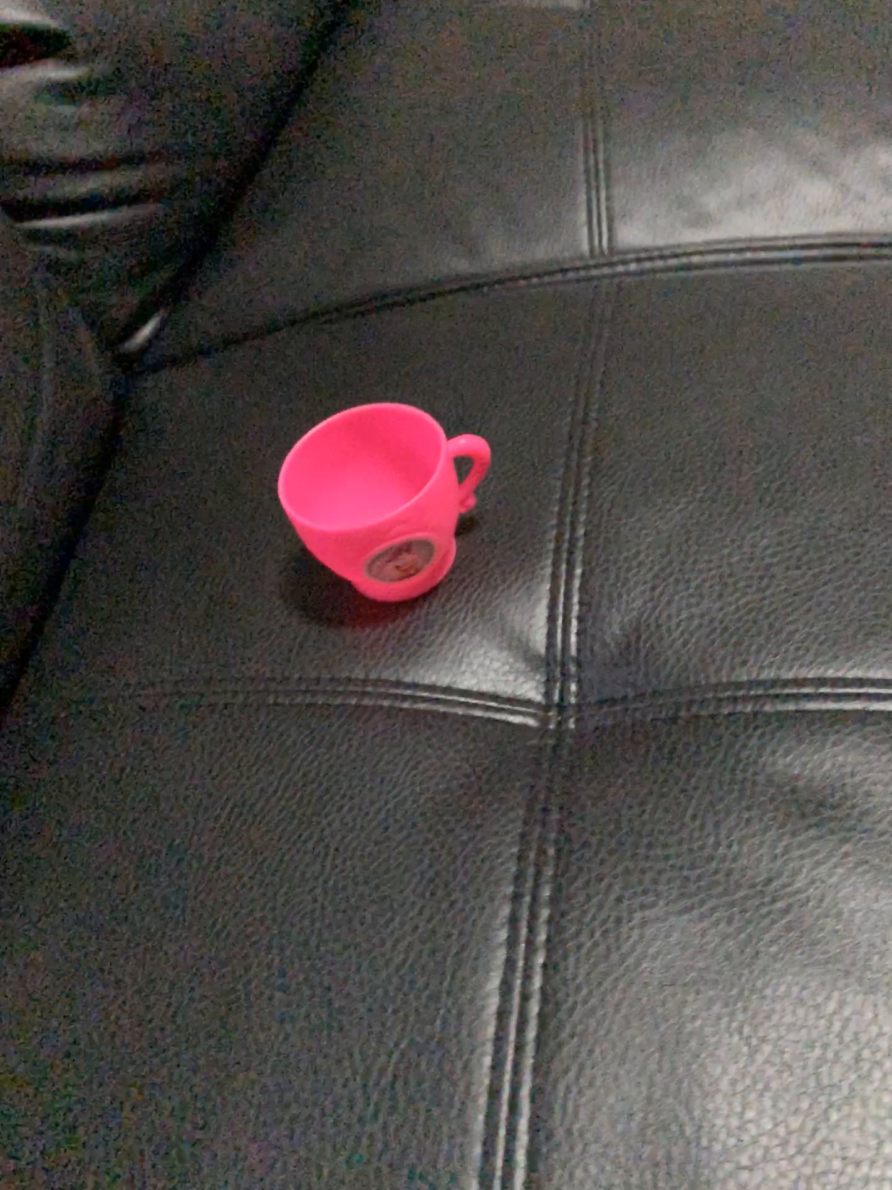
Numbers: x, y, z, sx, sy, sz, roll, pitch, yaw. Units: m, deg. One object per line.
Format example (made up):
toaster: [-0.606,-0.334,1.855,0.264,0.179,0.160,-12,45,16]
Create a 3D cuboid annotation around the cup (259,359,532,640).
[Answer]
cup: [-0.018,-0.034,0.322,0.073,0.047,0.062,-21,47,2]
